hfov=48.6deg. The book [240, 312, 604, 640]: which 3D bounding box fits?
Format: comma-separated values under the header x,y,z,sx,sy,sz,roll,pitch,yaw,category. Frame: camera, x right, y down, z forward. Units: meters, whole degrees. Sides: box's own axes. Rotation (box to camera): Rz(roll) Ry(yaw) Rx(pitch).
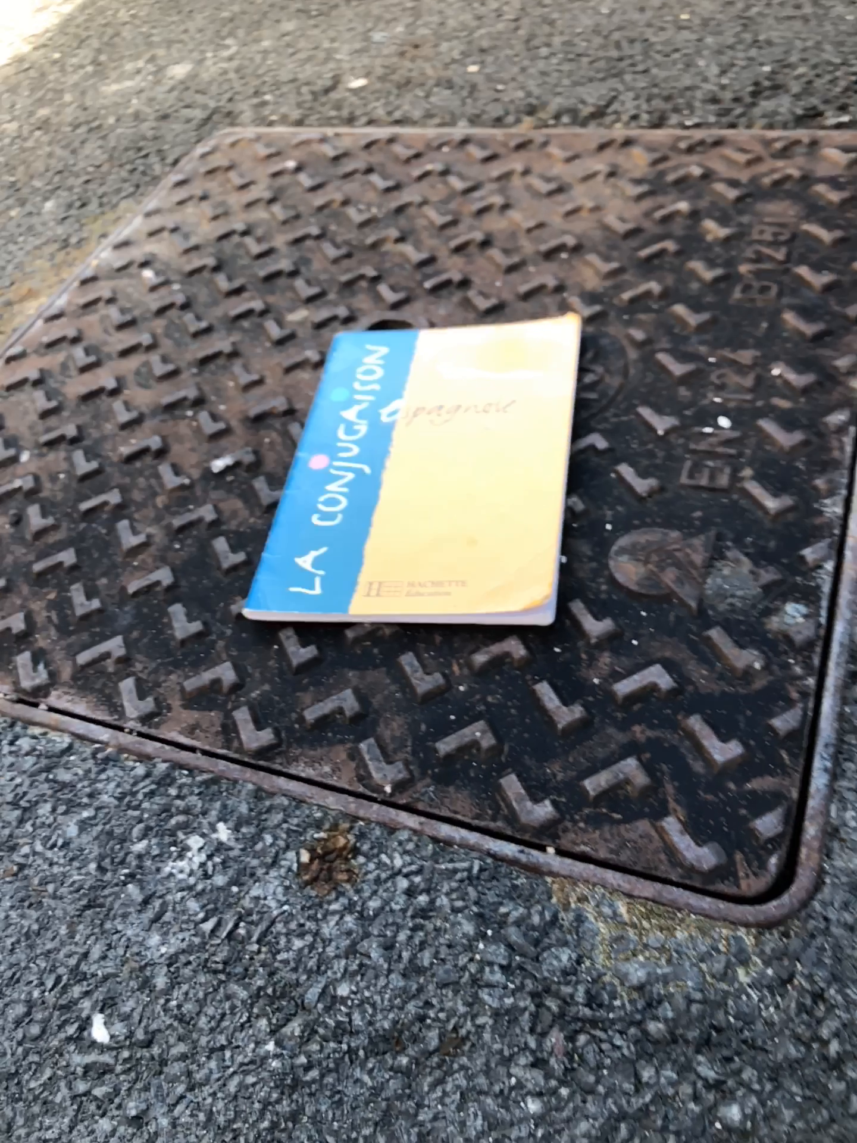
x,y,z,sx,sy,sz,roll,pitch,yaw,category
0.006,-0.052,0.437,0.140,0.017,0.188,0,50,13,book
